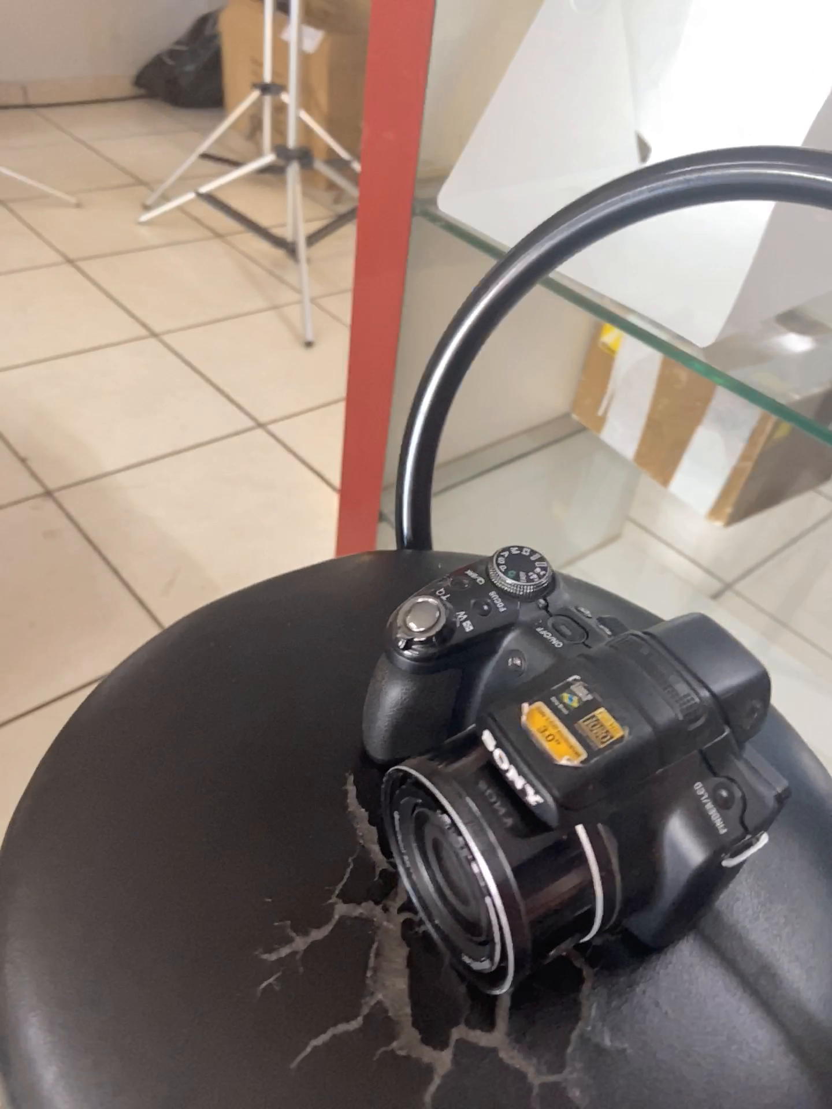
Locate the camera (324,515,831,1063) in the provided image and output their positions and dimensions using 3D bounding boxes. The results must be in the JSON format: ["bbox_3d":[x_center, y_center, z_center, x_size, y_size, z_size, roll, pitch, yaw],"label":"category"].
[{"bbox_3d":[0.042,0.061,0.256,0.100,0.079,0.100,-17,46,-28],"label":"camera"}]
